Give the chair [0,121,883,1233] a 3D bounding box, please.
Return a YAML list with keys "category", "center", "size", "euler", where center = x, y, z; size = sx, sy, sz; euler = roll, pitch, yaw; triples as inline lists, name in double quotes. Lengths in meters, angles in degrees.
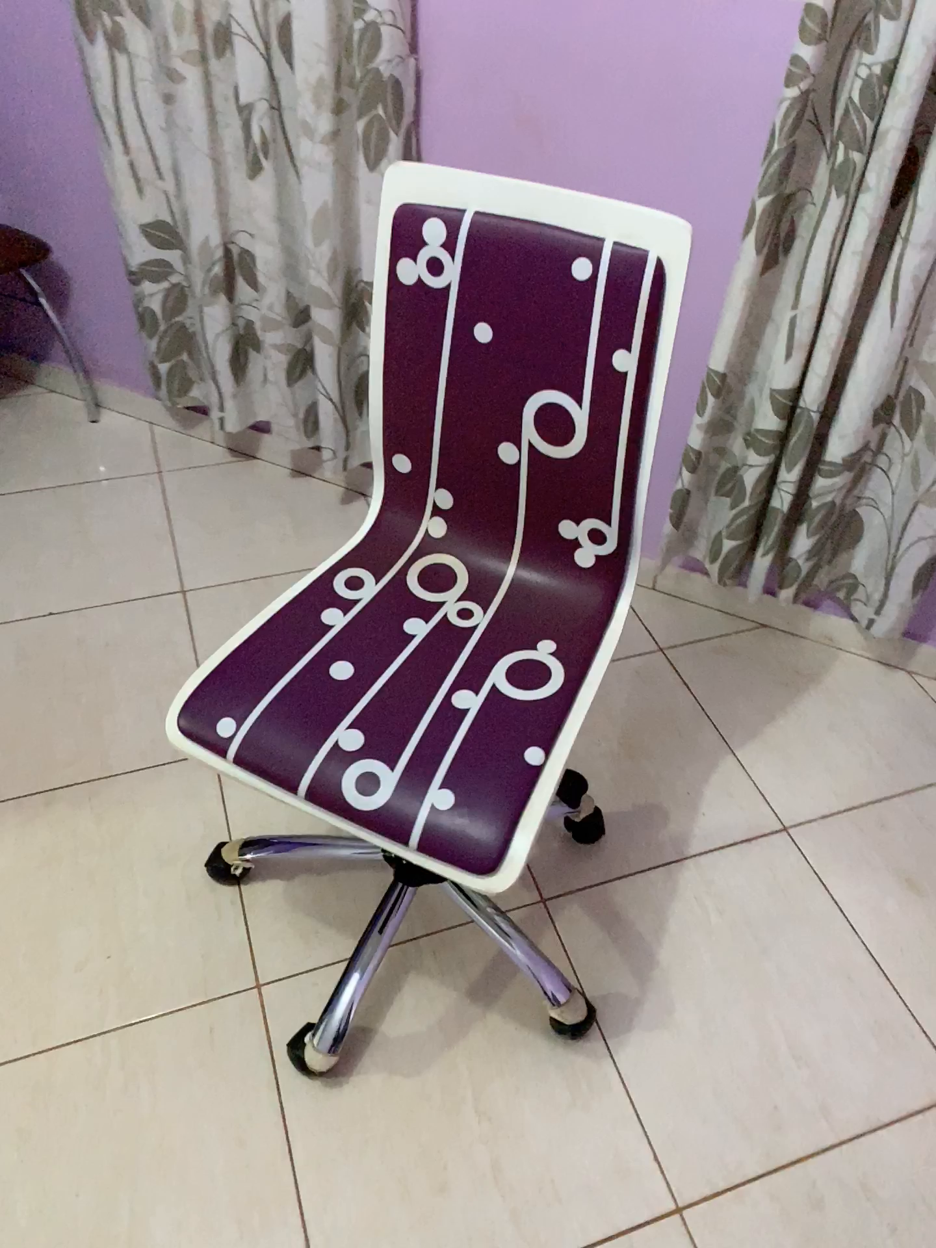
- category: "chair"
  center: [-0.080, 0.076, 1.159]
  size: [0.686, 1.005, 0.624]
  euler: [23, 46, 20]
